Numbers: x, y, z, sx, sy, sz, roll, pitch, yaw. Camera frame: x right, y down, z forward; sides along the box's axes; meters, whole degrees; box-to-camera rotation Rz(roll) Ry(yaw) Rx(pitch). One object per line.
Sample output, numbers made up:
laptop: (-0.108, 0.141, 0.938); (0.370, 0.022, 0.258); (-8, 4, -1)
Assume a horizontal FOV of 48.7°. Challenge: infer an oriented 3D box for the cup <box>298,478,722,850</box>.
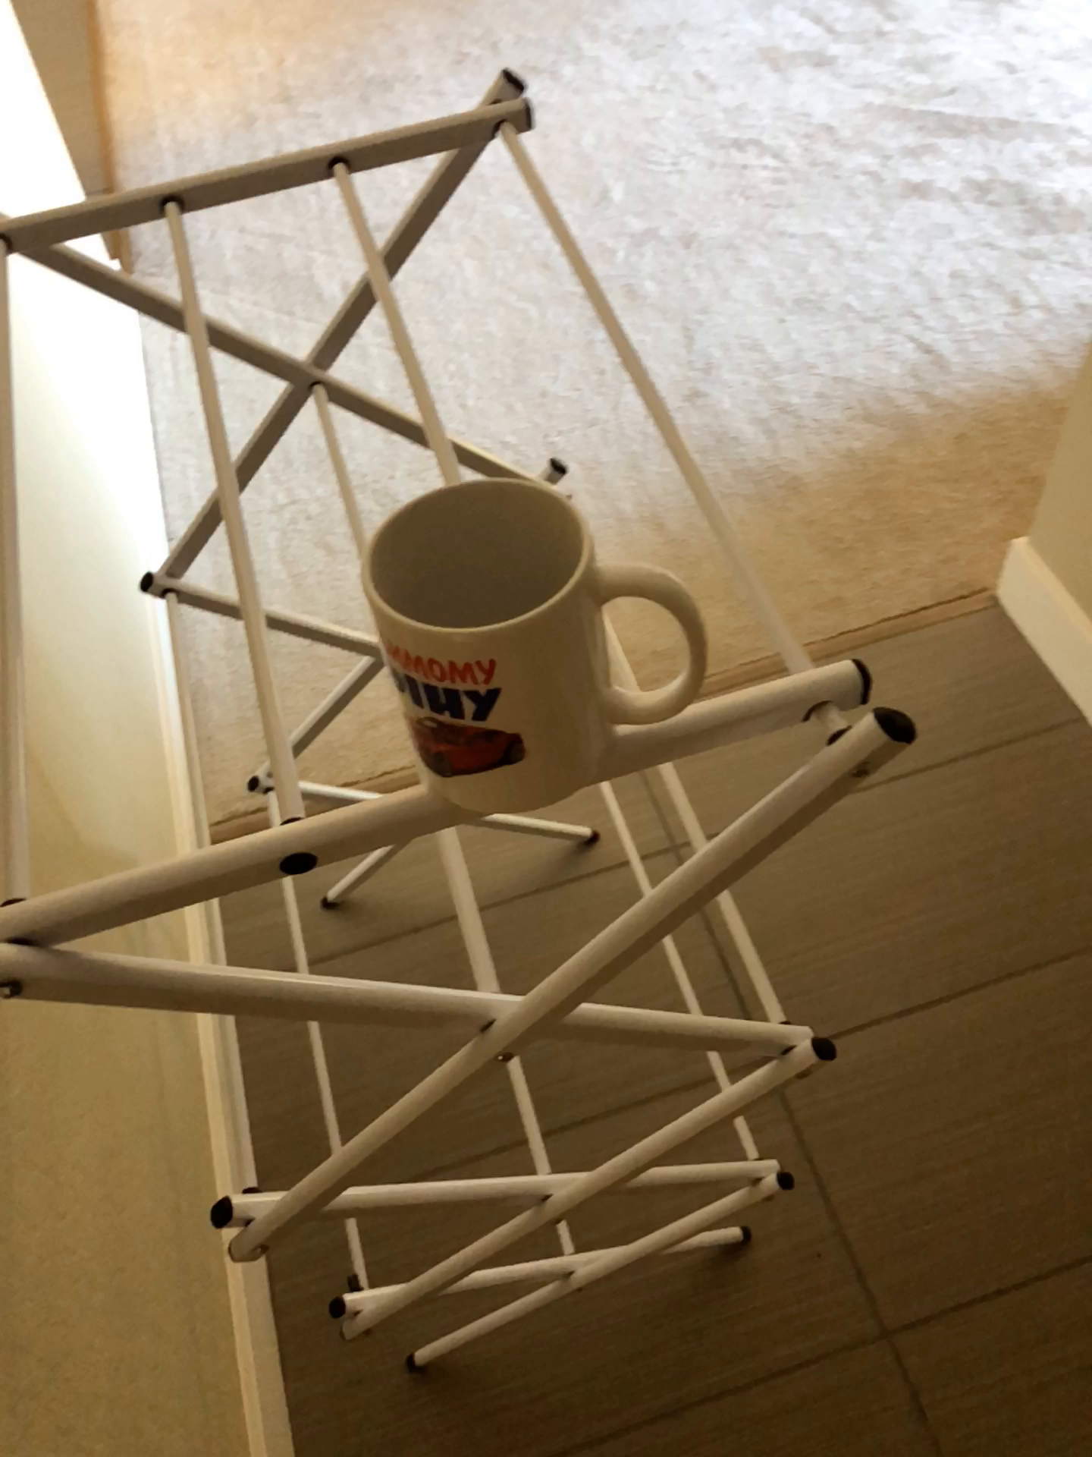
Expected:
cup: (-0.005, -0.021, 0.438); (0.130, 0.090, 0.090); (-3, 49, 9)
